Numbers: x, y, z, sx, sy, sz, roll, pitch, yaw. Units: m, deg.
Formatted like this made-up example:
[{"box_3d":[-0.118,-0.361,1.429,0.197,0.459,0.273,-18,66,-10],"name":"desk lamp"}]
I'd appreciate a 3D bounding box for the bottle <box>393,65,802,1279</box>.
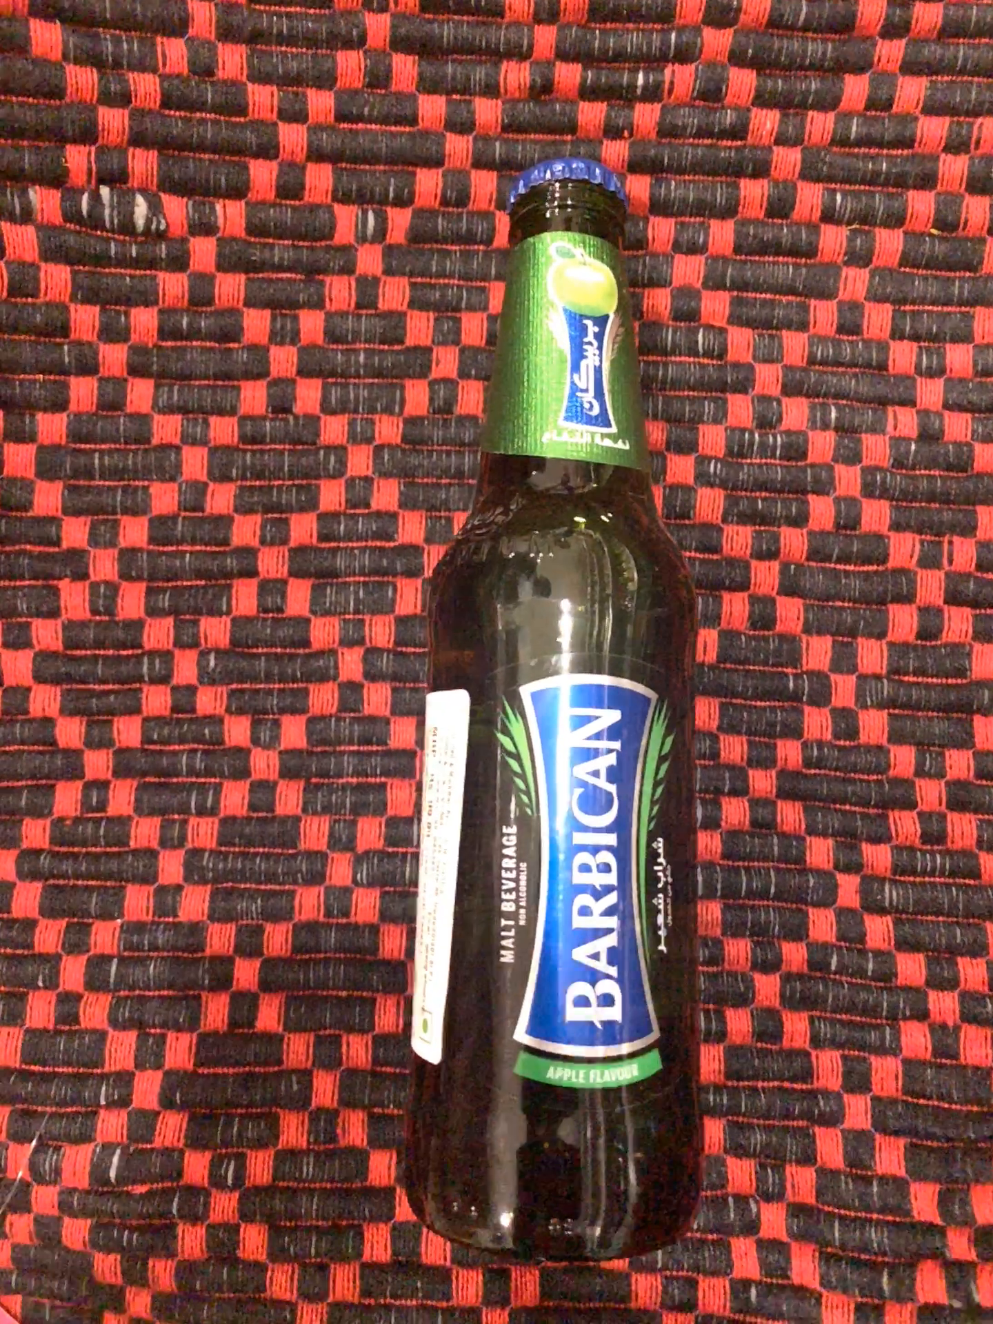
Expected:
[{"box_3d":[0.019,-0.007,0.224,0.070,0.050,0.238,1,79,-1],"name":"bottle"}]
